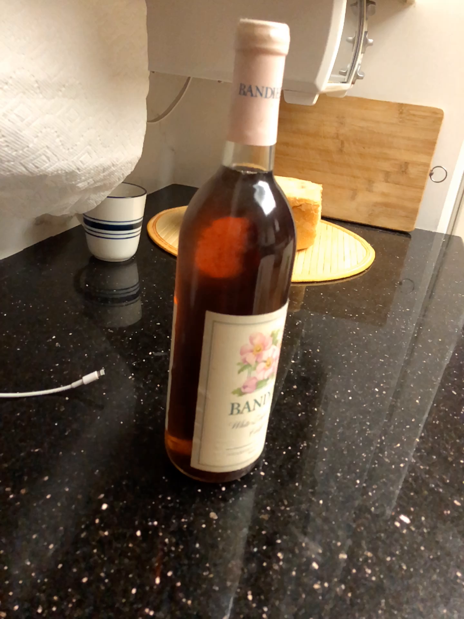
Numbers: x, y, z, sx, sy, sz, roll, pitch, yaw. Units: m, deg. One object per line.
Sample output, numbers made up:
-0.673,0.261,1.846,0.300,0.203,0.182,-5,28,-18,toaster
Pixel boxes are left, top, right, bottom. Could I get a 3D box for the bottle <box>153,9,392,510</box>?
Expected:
0.014,-0.021,0.320,0.080,0.279,0.080,6,25,-3,bottle
